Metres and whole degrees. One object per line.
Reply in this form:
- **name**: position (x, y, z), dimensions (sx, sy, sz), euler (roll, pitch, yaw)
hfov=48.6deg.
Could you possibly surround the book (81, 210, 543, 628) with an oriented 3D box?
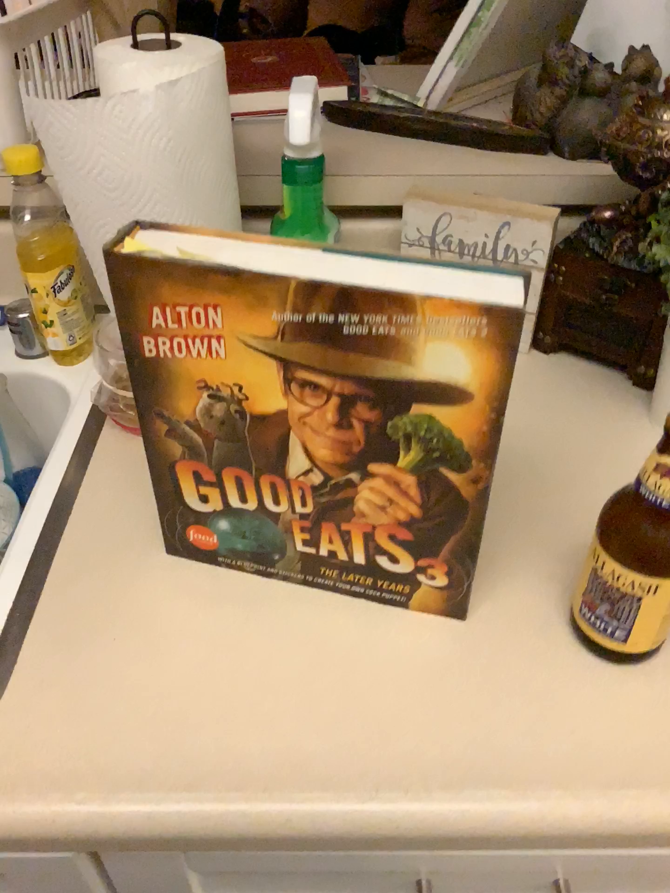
- **book**: position (-0.014, -0.007, 0.472), dimensions (0.240, 0.250, 0.050), euler (10, 40, 12)
